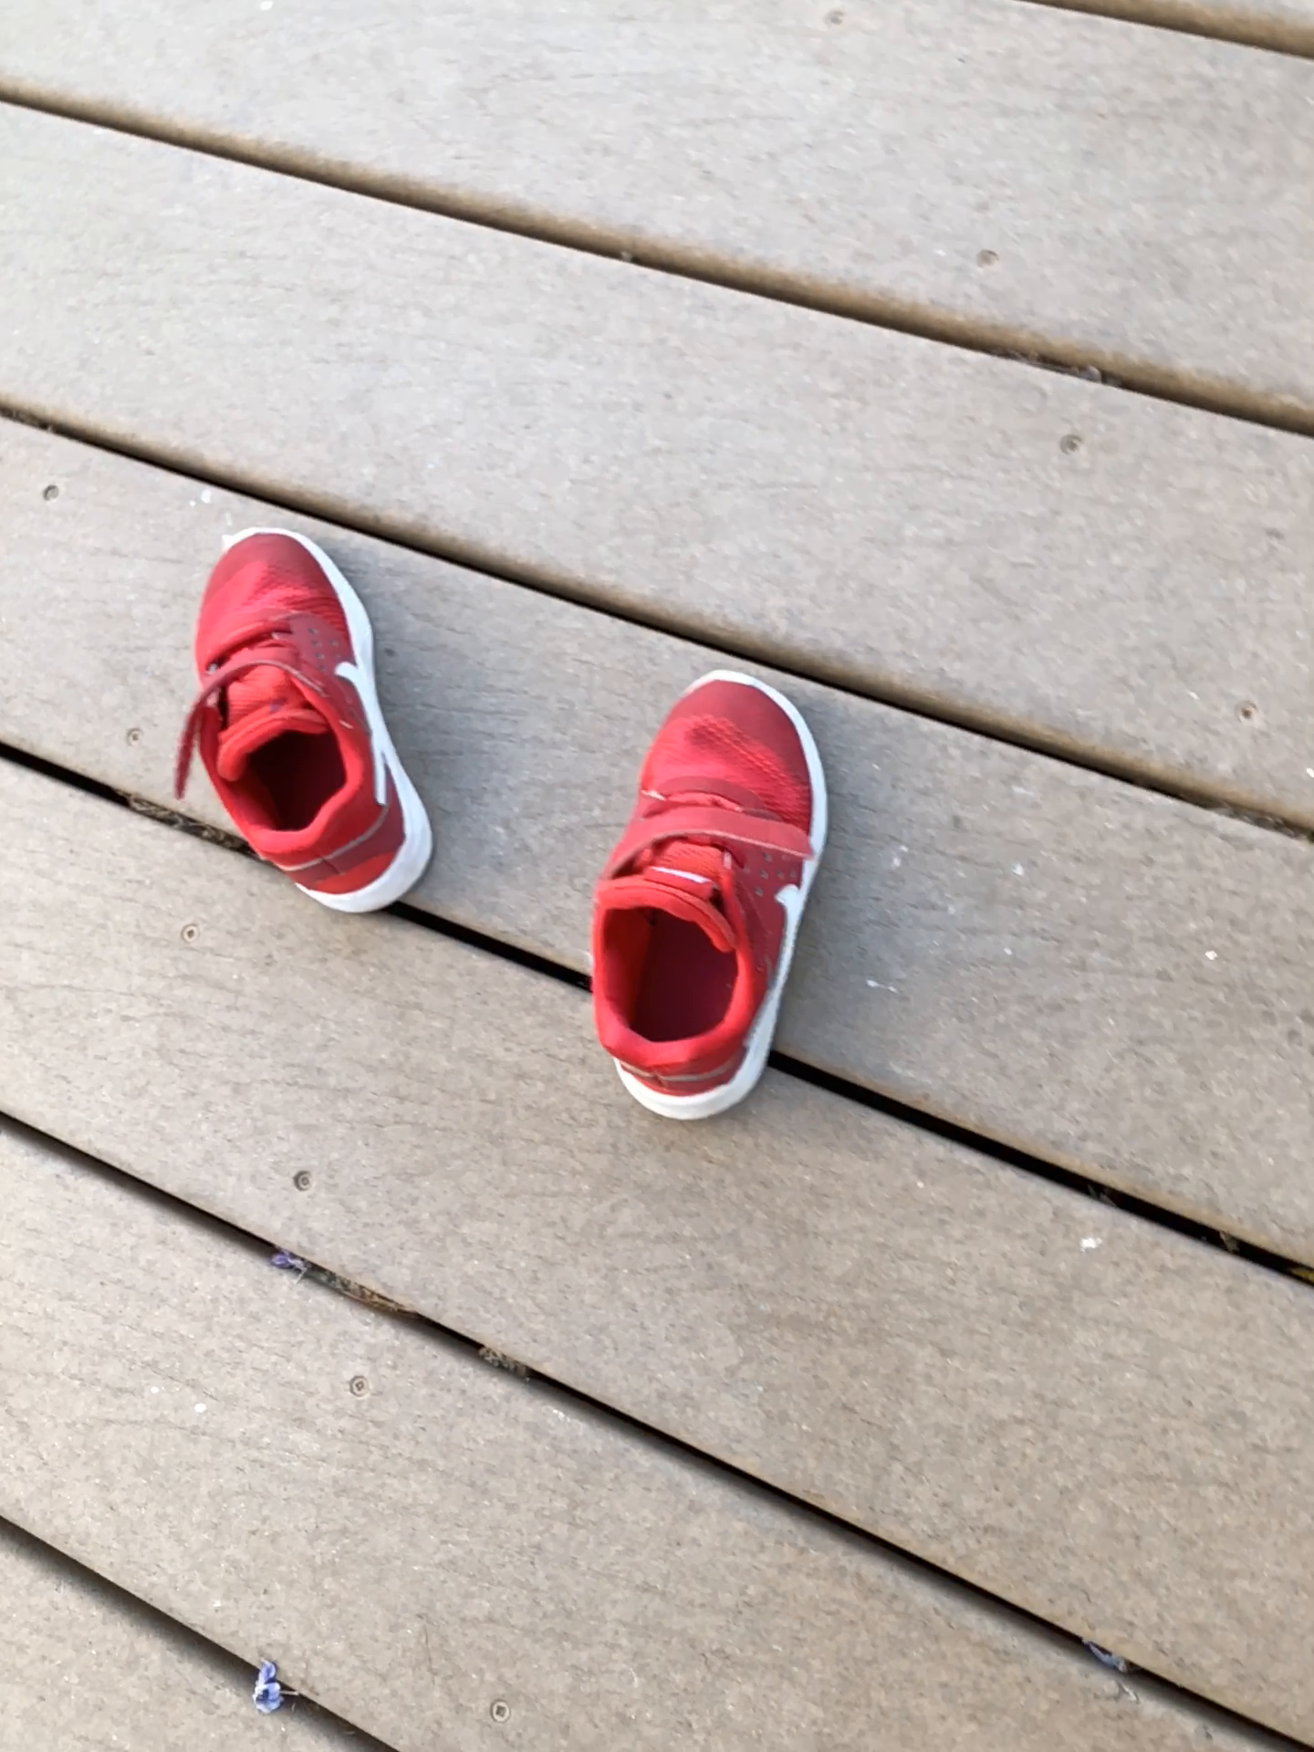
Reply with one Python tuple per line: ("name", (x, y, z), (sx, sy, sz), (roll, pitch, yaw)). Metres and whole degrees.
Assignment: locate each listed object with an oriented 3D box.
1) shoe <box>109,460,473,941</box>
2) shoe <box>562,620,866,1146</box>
("shoe", (-0.138, -0.063, 0.552), (0.073, 0.069, 0.153), (-22, 76, 8))
("shoe", (0.024, 0.005, 0.501), (0.069, 0.069, 0.164), (7, 82, 14))
